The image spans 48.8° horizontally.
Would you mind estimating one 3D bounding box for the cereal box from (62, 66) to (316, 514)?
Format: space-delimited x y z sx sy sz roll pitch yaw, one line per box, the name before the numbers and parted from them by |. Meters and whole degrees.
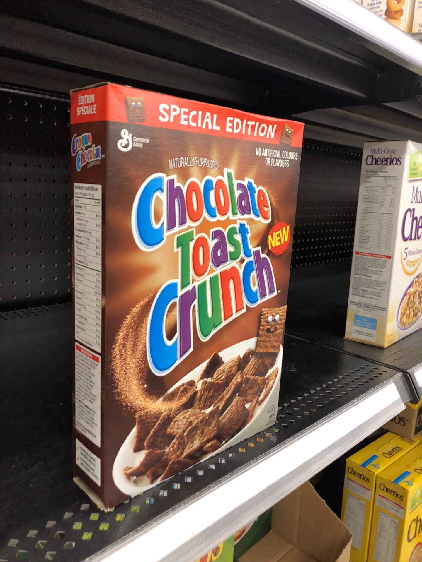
cereal box | -0.008 0.002 0.359 0.200 0.269 0.050 -8 16 -44
